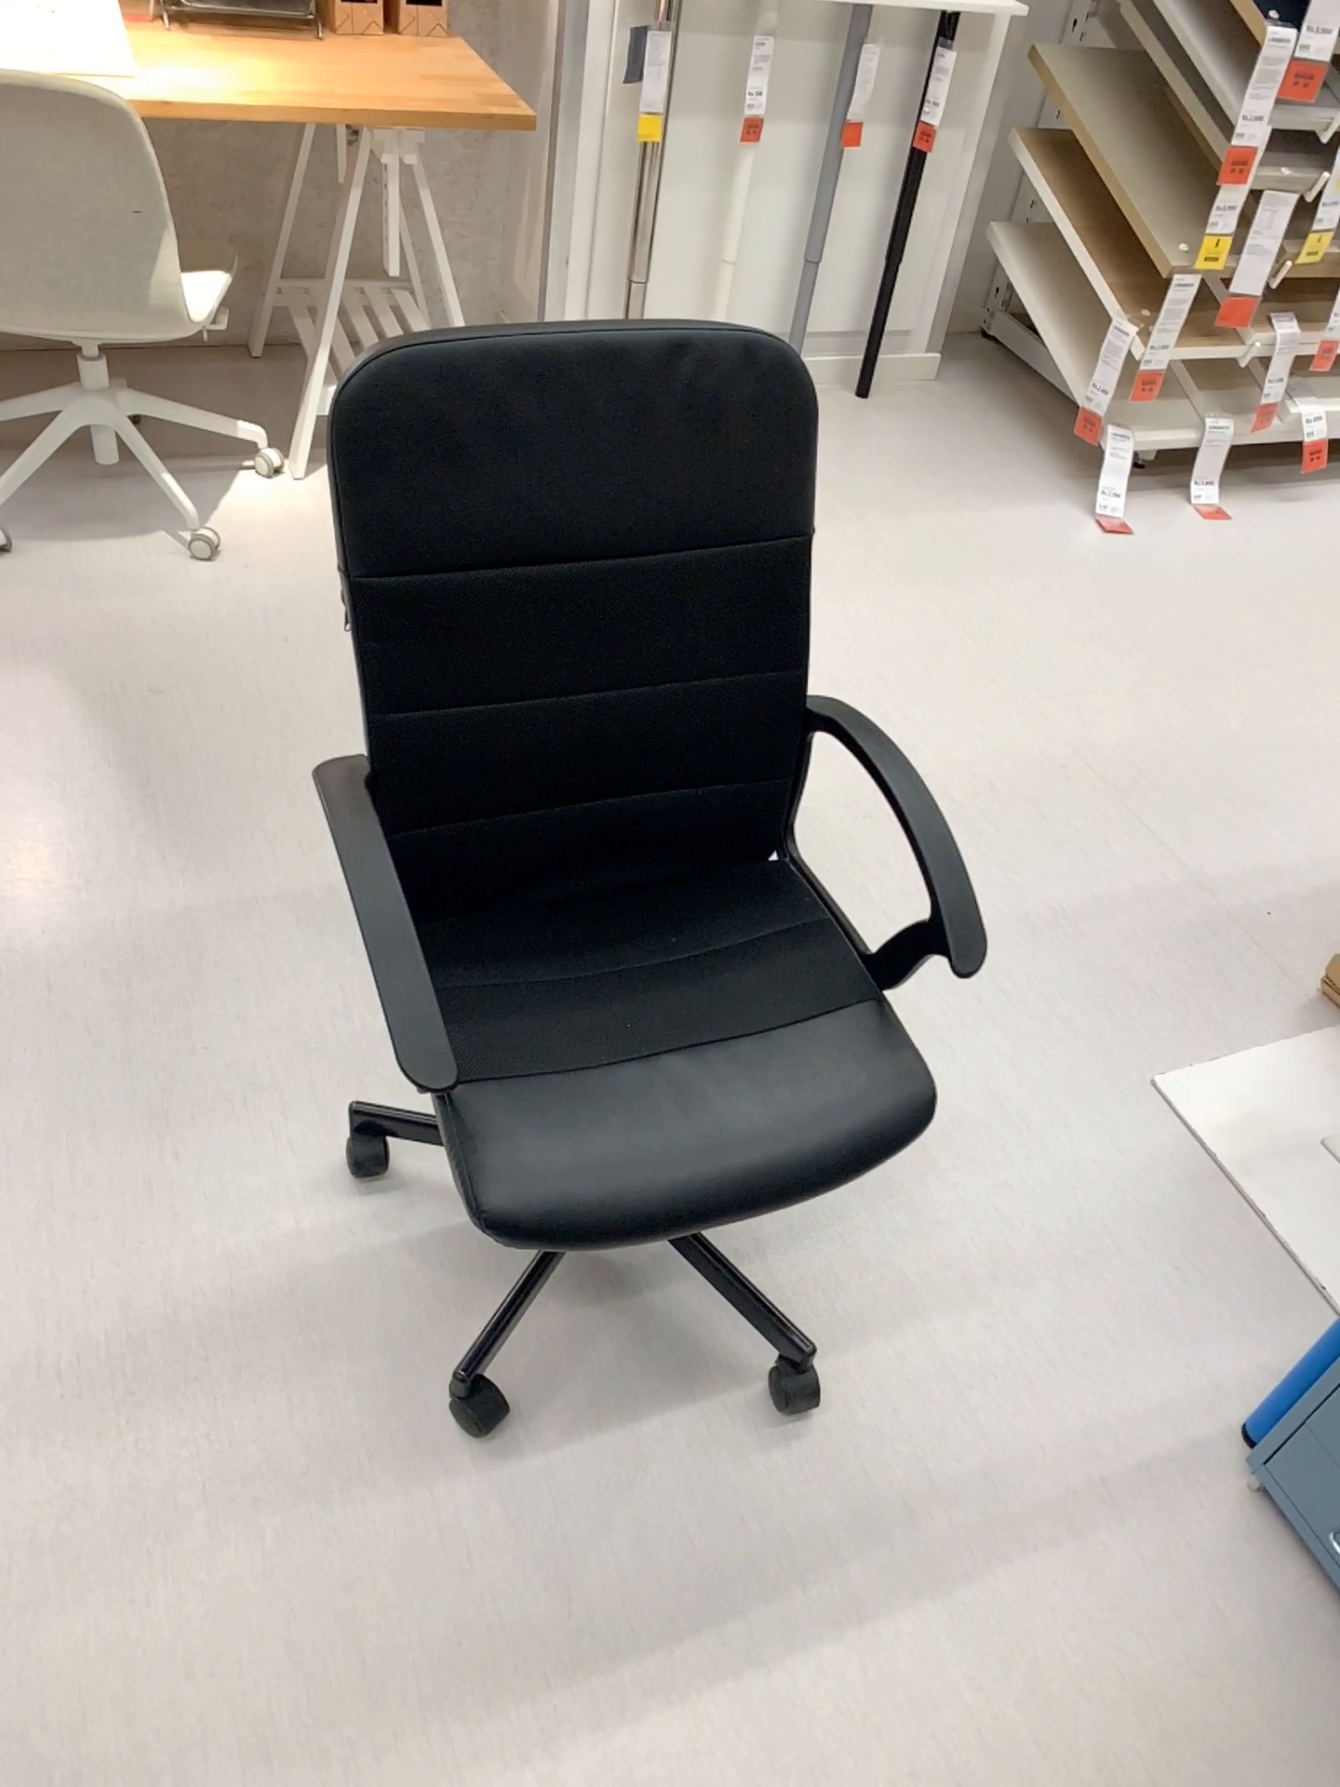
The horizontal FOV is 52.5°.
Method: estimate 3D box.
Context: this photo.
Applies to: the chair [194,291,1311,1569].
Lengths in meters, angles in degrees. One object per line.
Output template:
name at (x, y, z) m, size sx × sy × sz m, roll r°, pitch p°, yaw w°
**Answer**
chair at (-0.035, 0.050, 1.303) m, size 0.611 × 0.996 × 0.582 m, roll -12°, pitch 47°, yaw -23°
